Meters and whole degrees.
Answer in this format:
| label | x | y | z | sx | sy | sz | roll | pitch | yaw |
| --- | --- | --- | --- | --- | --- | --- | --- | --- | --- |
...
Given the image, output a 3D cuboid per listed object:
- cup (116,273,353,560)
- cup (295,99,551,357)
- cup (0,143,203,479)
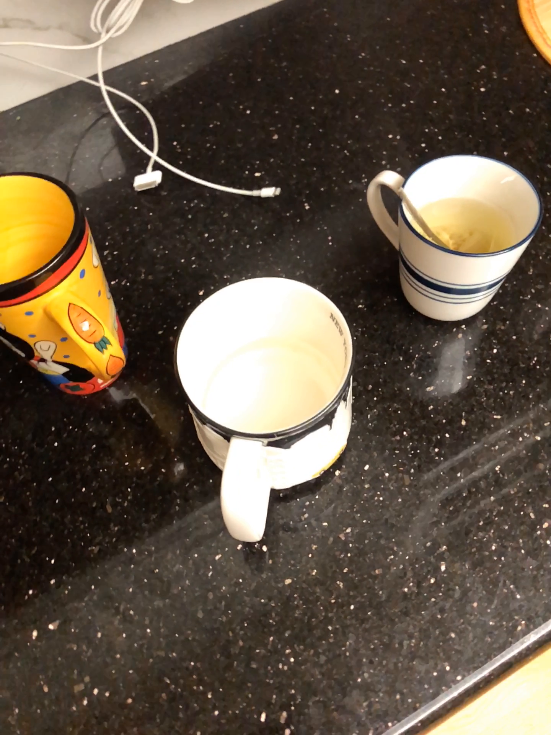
| label | x | y | z | sx | sy | sz | roll | pitch | yaw |
| --- | --- | --- | --- | --- | --- | --- | --- | --- | --- |
| cup | -0.013 | 0.029 | 0.364 | 0.110 | 0.090 | 0.140 | 3 | 60 | 6 |
| cup | 0.094 | -0.094 | 0.407 | 0.130 | 0.090 | 0.090 | 31 | 67 | 21 |
| cup | -0.136 | -0.031 | 0.374 | 0.140 | 0.130 | 0.090 | 39 | 70 | 23 |
